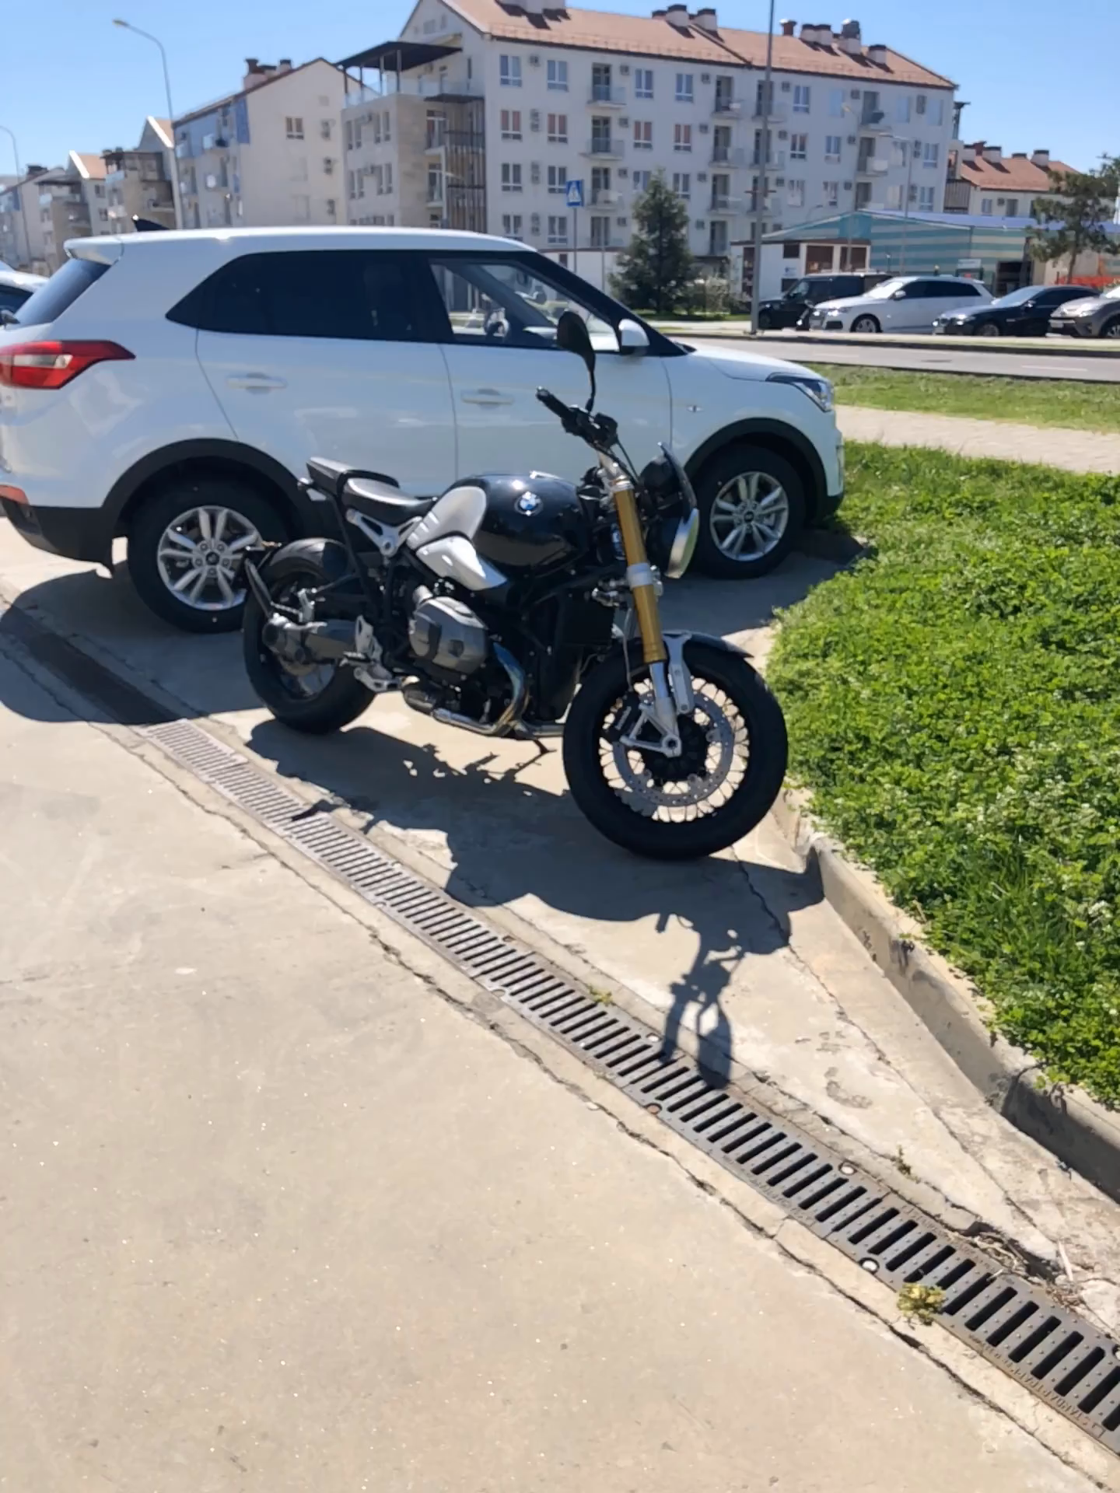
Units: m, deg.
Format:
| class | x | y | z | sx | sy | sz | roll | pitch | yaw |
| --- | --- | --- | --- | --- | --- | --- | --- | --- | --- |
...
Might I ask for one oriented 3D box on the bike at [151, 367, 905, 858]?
| class | x | y | z | sx | sy | sz | roll | pitch | yaw |
| --- | --- | --- | --- | --- | --- | --- | --- | --- | --- |
| bike | -0.157 | -0.493 | 3.395 | 1.835 | 1.013 | 0.778 | 13 | 23 | 34 |
